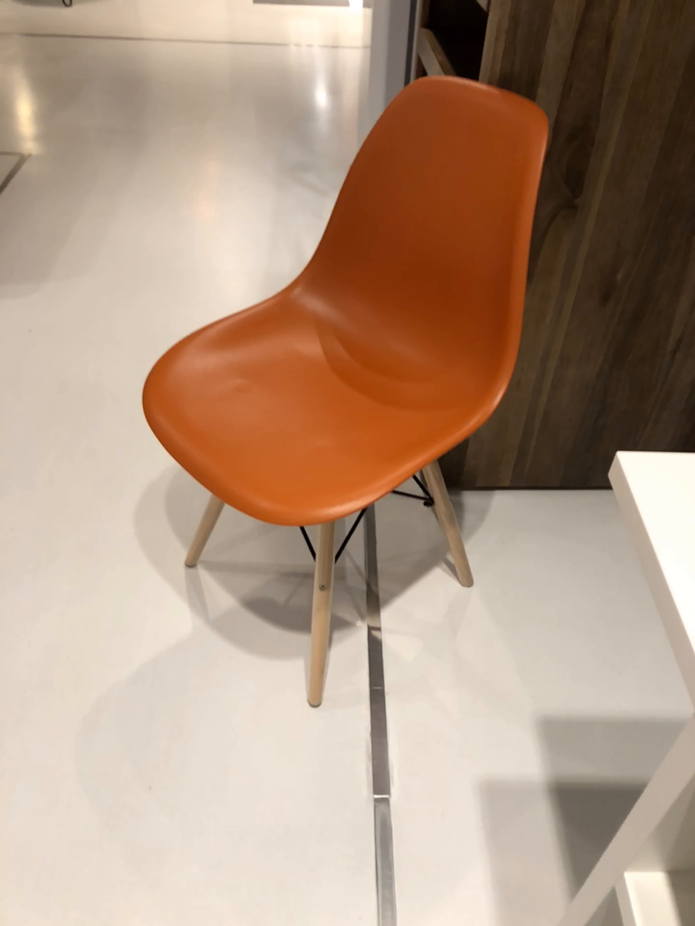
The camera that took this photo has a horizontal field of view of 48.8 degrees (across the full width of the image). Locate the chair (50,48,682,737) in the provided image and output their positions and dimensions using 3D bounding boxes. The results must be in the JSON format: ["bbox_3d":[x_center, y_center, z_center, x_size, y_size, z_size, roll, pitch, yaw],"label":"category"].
[{"bbox_3d":[0.014,-0.121,1.170,0.582,0.744,0.492,-30,52,-30],"label":"chair"}]
